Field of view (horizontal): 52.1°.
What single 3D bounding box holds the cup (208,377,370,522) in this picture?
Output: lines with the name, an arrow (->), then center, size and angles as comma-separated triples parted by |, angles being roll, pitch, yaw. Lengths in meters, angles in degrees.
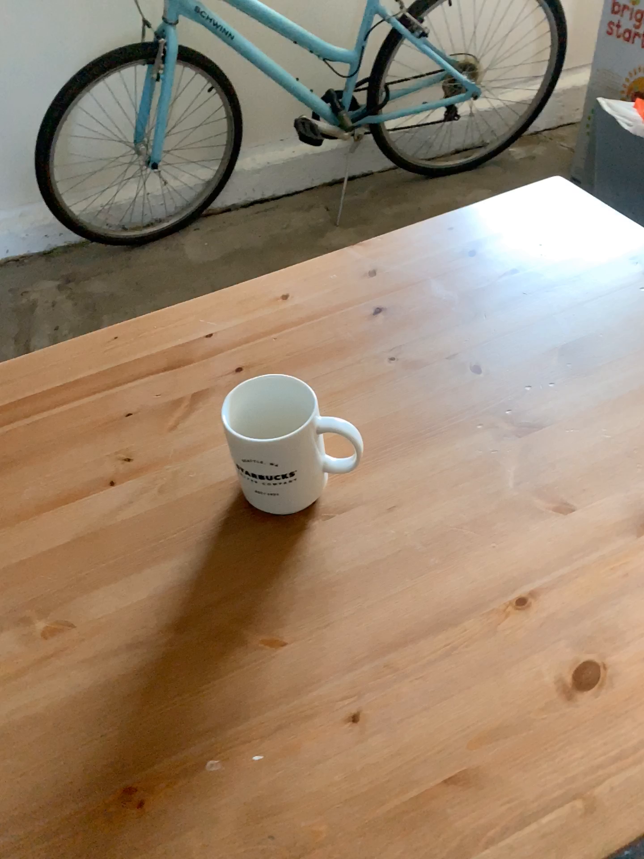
cup -> -0.022, 0.018, 0.579 | 0.120, 0.100, 0.080 | 0, 48, 8
